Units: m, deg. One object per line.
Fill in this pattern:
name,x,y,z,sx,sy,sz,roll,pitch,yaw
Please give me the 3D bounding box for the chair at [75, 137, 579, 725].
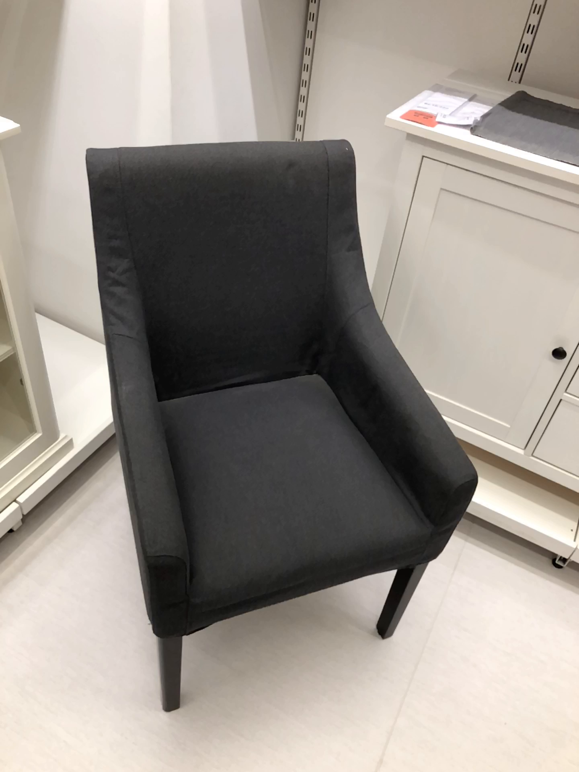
chair,-0.021,0.082,1.253,0.610,0.884,0.624,-9,44,-19
